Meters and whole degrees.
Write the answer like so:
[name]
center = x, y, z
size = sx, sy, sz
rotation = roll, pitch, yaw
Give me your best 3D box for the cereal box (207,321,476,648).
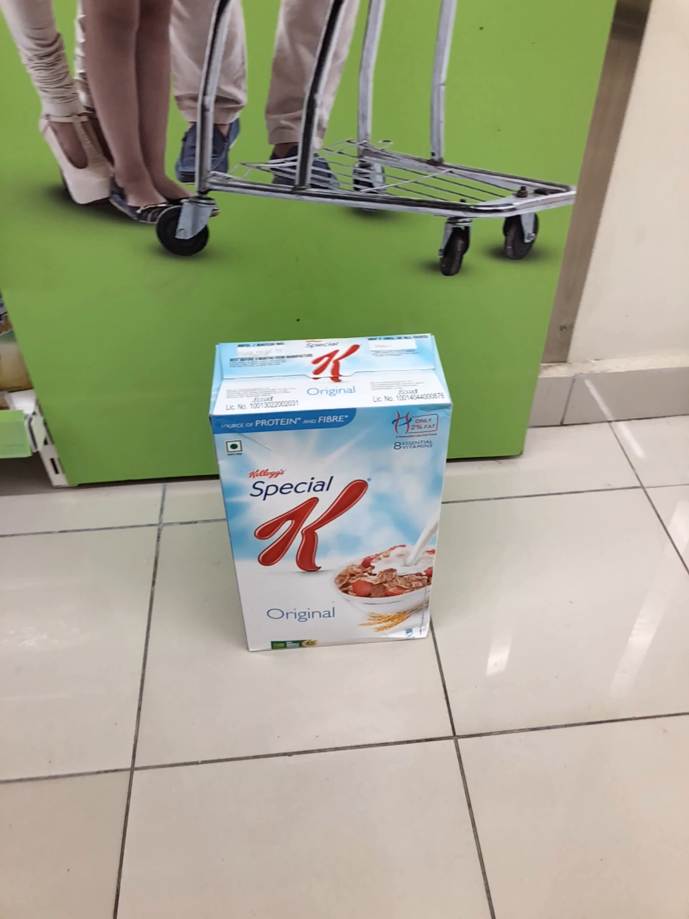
[cereal box]
center = -0.005, 0.036, 0.704
size = 0.200, 0.308, 0.101
rotation = -4, 43, -4
